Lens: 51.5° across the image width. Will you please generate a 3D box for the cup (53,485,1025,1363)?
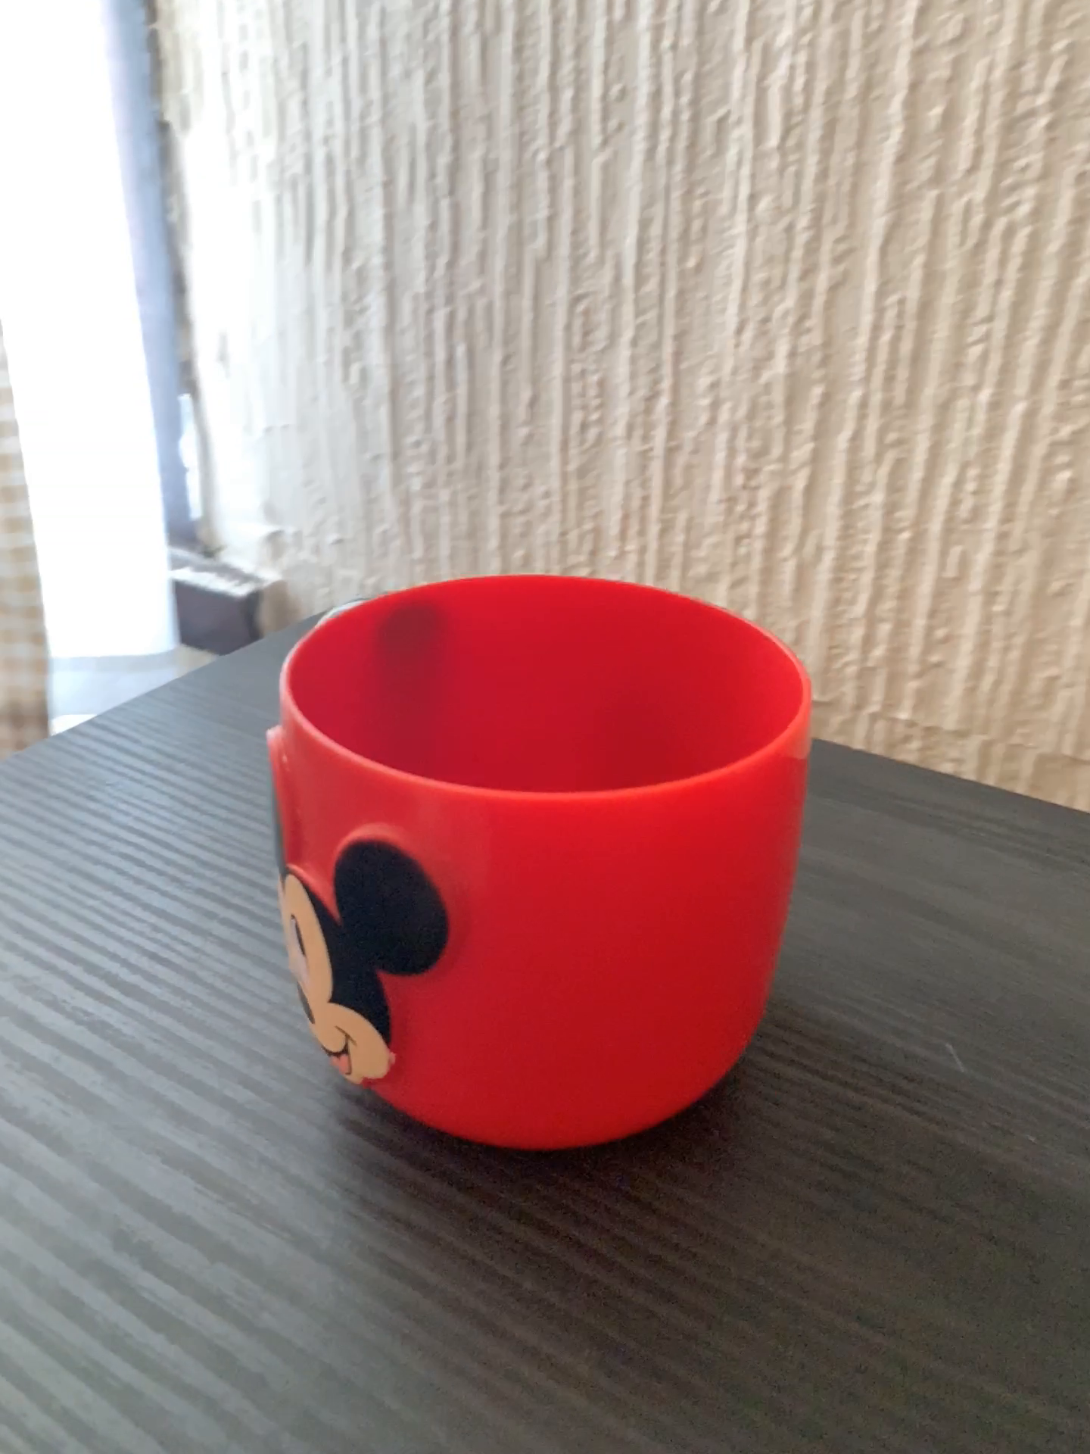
[{"bbox_3d":[-0.006,0.013,0.204,0.100,0.069,0.131,-22,36,-39],"label":"cup"}]
